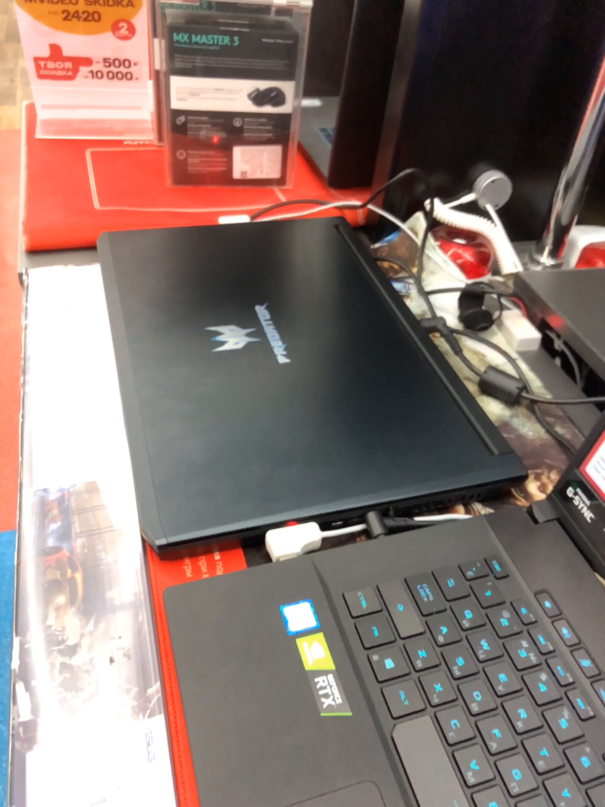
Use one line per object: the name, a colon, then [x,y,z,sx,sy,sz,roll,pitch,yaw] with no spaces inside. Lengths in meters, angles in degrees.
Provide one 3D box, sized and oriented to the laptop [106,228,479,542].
laptop: [-0.035,-0.050,0.555,0.221,0.006,0.355,-8,44,-15]
